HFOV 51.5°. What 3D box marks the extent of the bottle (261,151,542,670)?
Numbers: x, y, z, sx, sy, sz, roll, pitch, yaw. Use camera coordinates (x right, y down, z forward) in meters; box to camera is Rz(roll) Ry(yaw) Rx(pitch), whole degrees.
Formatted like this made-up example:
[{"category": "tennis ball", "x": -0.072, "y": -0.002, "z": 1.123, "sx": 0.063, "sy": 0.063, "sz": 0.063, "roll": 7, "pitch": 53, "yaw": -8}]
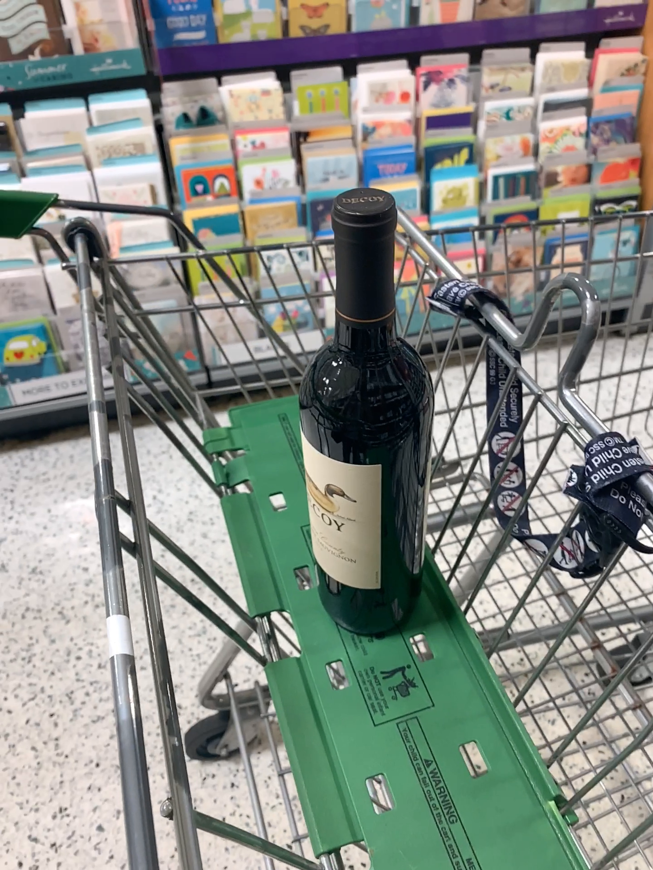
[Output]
[{"category": "bottle", "x": 0.035, "y": 0.006, "z": 0.401, "sx": 0.090, "sy": 0.297, "sz": 0.091, "roll": -1, "pitch": 42, "yaw": 1}]
